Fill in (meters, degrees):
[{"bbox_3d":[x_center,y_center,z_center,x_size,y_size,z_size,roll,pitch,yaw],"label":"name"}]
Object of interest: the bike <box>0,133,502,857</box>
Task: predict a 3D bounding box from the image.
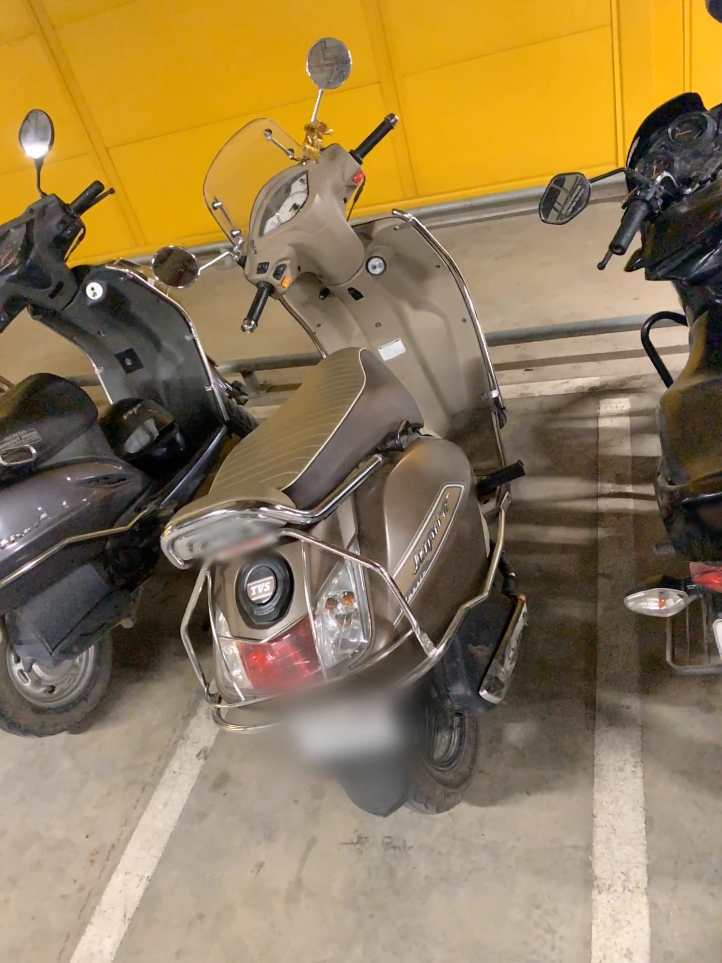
[{"bbox_3d":[-0.095,-0.111,1.787,0.604,1.027,1.562,-9,33,11],"label":"bike"}]
